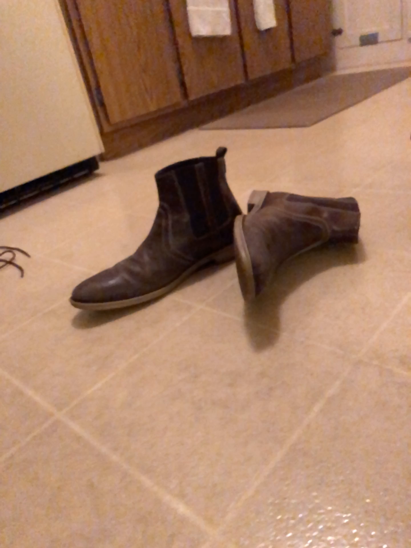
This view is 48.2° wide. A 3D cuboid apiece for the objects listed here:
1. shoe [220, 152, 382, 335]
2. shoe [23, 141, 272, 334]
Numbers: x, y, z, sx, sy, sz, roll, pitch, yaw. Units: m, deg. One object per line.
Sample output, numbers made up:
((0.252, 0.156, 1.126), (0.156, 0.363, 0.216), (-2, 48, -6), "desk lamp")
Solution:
((0.134, -0.059, 0.623), (0.161, 0.111, 0.315), (-3, 28, 15), "shoe")
((-0.073, -0.067, 0.673), (0.313, 0.160, 0.112), (-23, 28, -19), "shoe")
